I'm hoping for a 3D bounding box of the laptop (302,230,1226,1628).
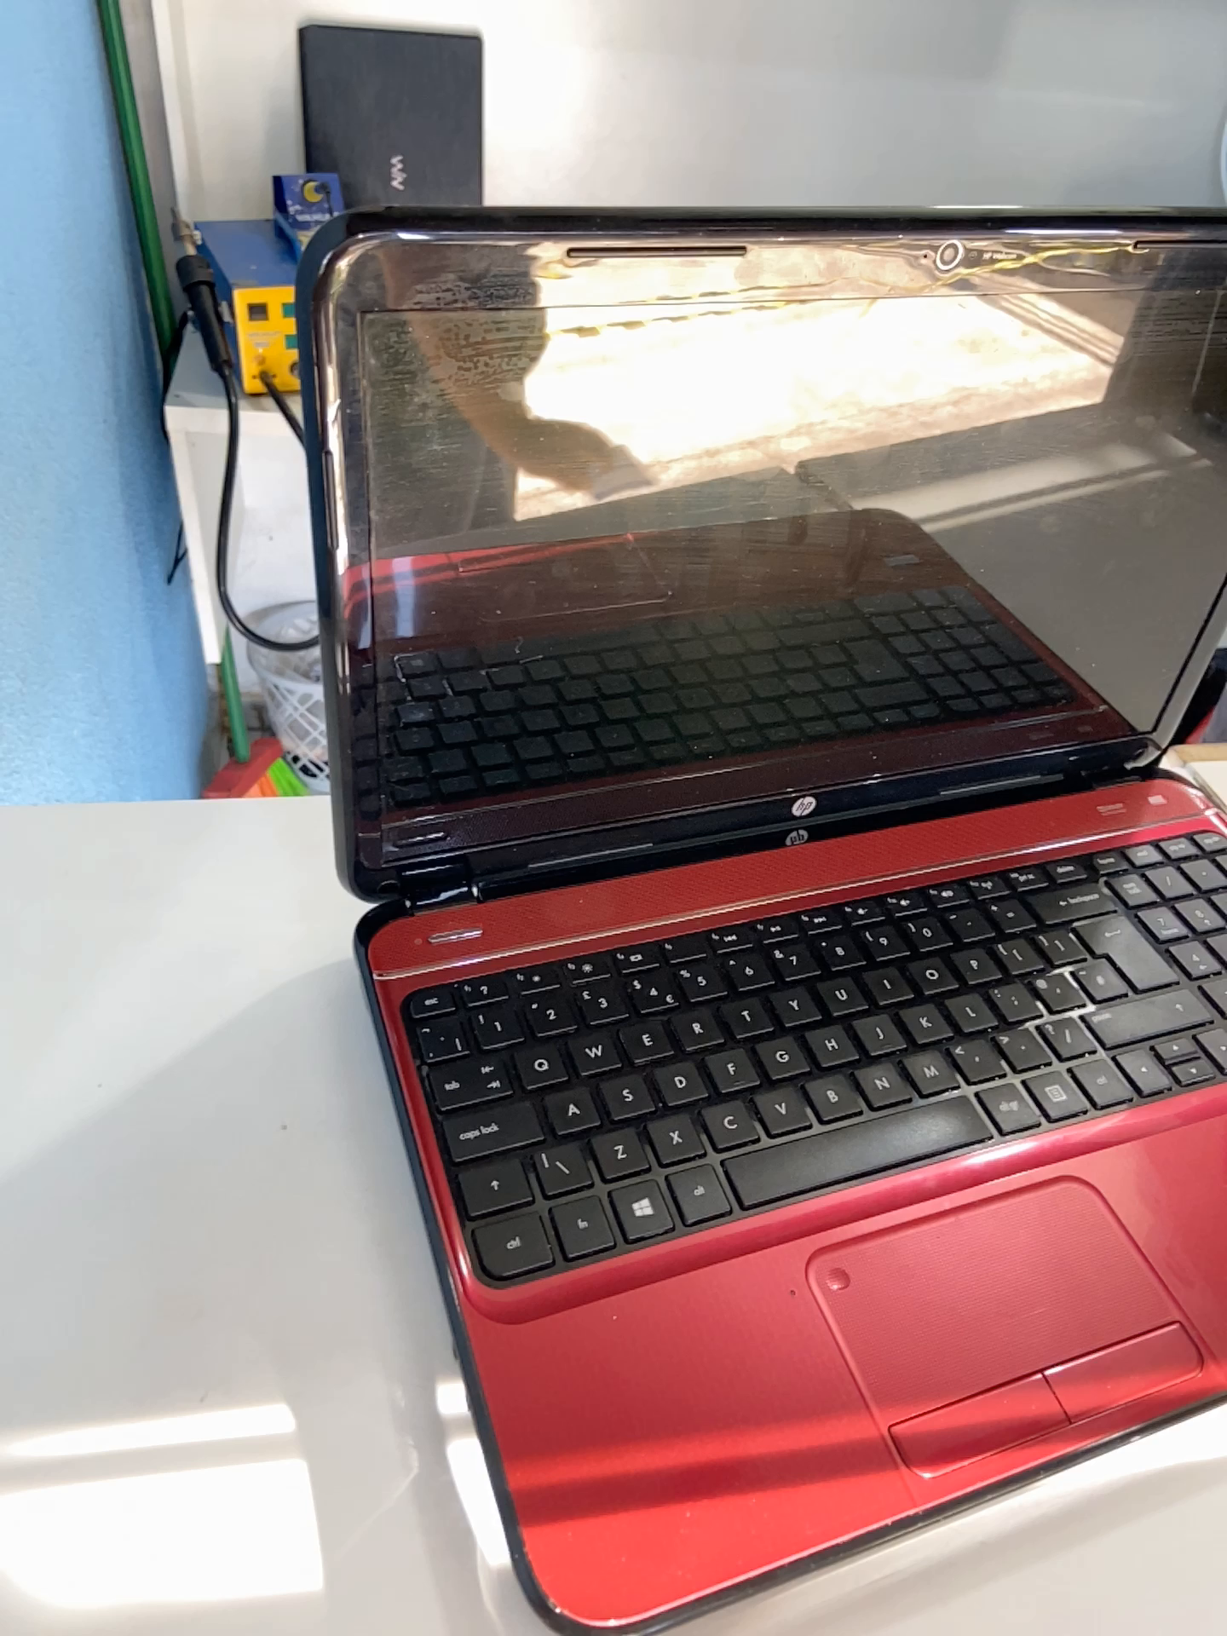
[{"bbox_3d":[0.125,-0.005,0.343,0.357,0.220,0.228,-10,42,-18],"label":"laptop"}]
